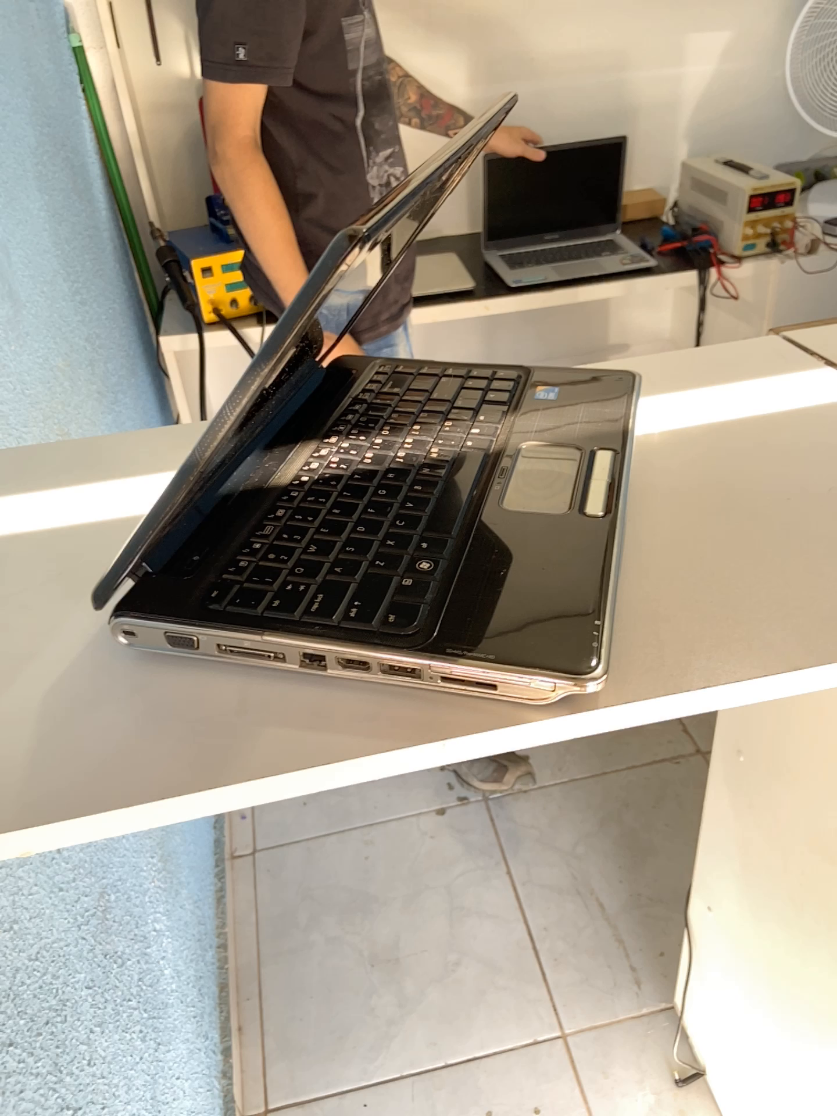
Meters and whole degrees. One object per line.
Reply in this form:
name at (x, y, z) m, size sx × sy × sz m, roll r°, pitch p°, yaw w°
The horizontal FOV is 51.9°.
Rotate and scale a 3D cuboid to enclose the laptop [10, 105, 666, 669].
laptop at (0.007, -0.127, 0.465) m, size 0.225 × 0.165 × 0.327 m, roll 6°, pitch 36°, yaw 14°
